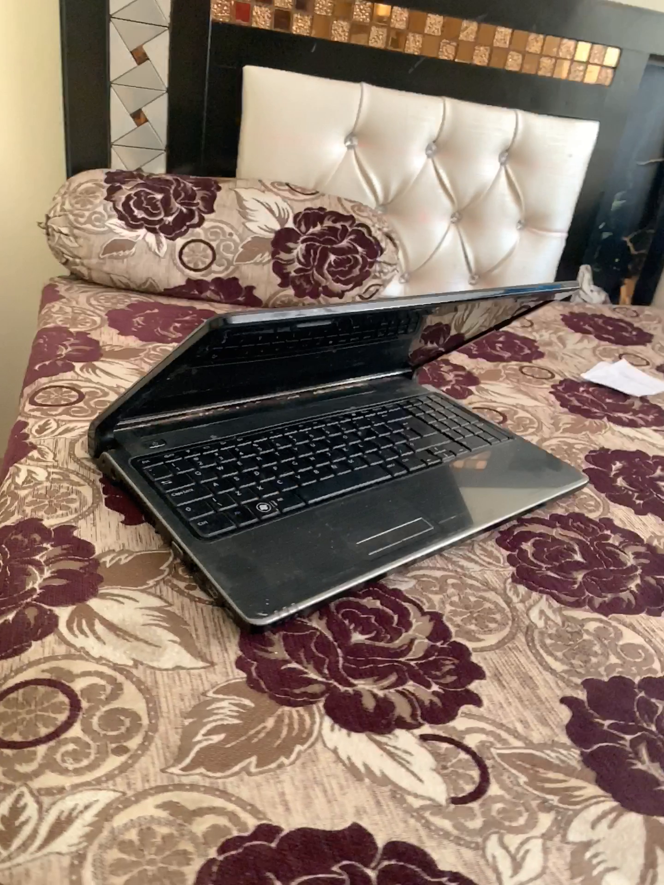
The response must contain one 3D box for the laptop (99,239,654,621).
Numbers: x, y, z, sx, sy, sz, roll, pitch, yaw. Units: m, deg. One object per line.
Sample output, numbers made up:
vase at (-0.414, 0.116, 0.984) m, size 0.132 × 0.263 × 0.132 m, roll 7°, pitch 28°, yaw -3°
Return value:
laptop at (0.039, -0.050, 0.547) m, size 0.364 × 0.154 × 0.221 m, roll -15°, pitch 38°, yaw -37°
